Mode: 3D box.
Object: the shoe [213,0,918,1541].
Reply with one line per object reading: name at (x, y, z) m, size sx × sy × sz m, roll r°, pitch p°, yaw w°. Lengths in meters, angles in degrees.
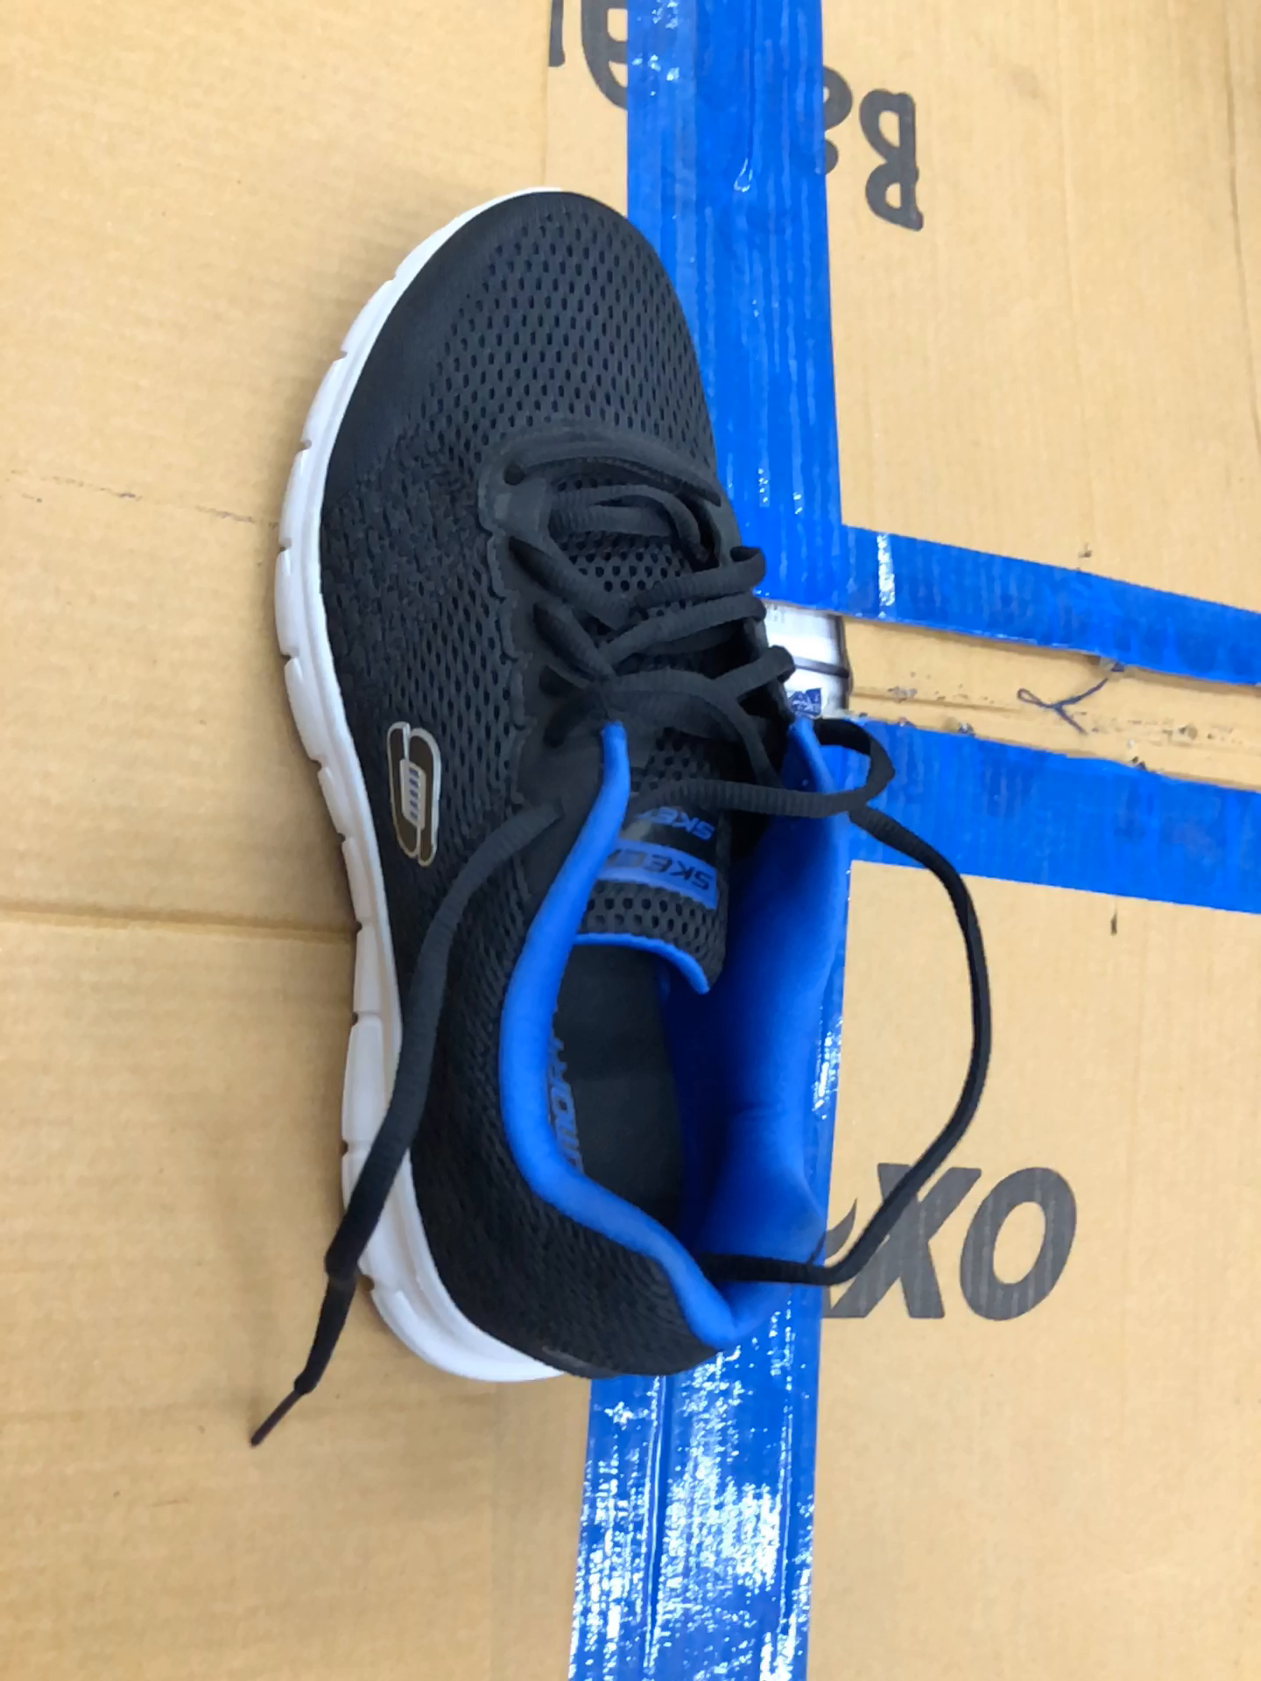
shoe at (-0.021, -0.017, 0.311) m, size 0.114 × 0.106 × 0.278 m, roll 3°, pitch 80°, yaw -26°
